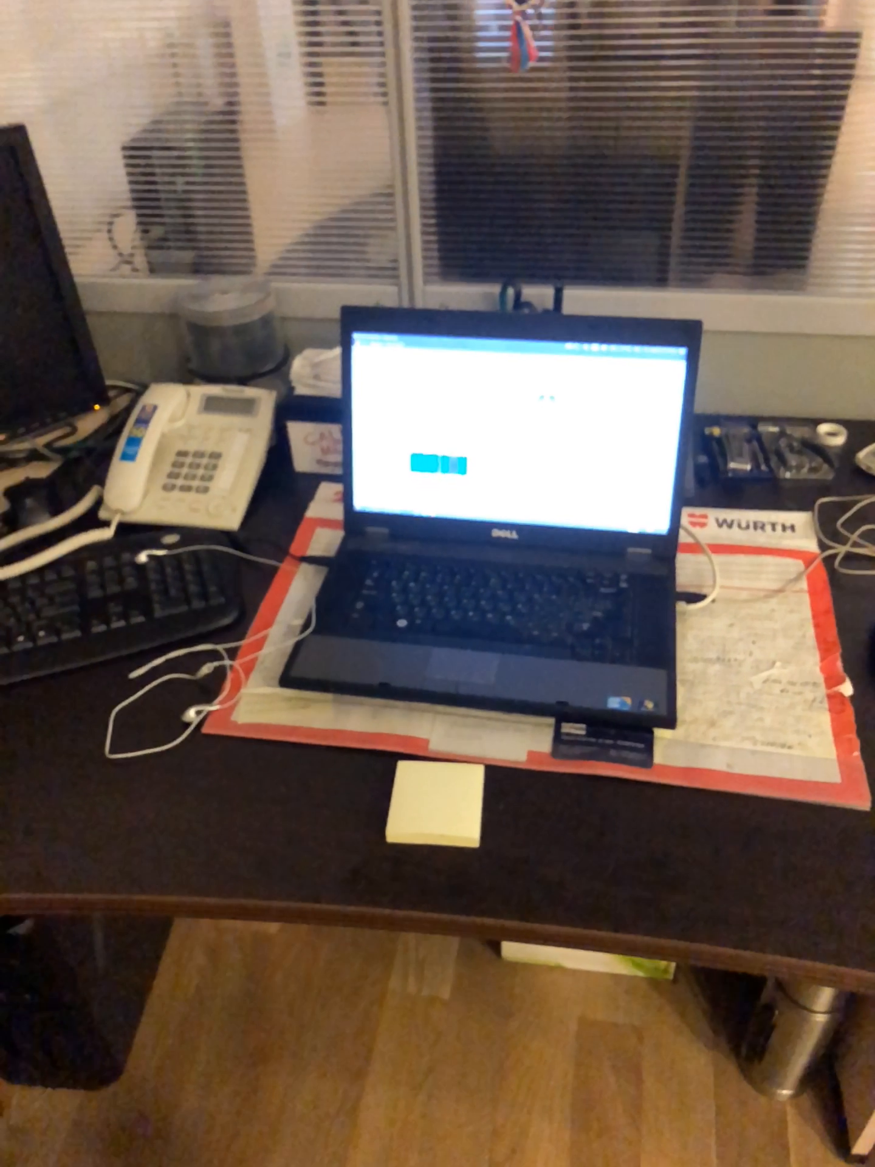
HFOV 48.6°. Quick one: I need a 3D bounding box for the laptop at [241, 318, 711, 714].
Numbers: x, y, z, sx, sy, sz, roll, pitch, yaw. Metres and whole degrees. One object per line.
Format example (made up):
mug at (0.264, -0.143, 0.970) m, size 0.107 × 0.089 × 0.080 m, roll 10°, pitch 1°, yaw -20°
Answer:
laptop at (0.050, -0.068, 0.811) m, size 0.316 × 0.209 × 0.257 m, roll 4°, pitch 39°, yaw 10°
